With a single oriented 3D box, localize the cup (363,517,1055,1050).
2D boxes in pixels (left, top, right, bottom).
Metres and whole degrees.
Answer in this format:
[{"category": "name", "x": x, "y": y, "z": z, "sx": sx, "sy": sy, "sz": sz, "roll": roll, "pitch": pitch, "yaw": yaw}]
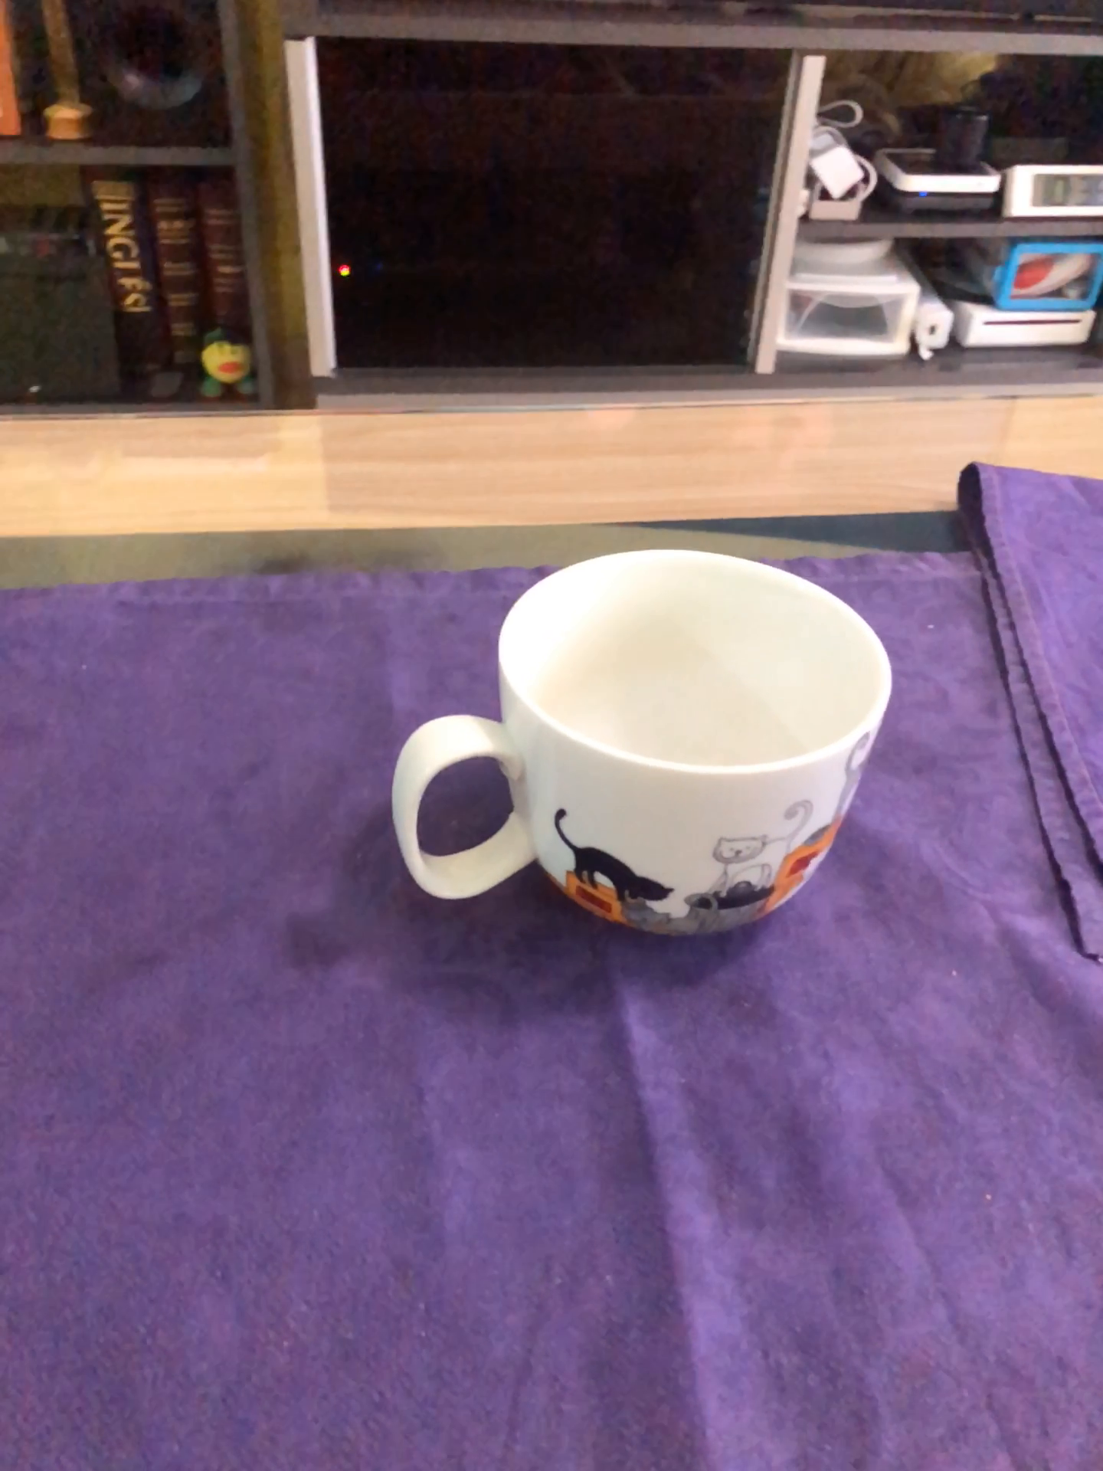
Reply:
[{"category": "cup", "x": 0.033, "y": 0.006, "z": 0.314, "sx": 0.140, "sy": 0.070, "sz": 0.090, "roll": -11, "pitch": 41, "yaw": -16}]
